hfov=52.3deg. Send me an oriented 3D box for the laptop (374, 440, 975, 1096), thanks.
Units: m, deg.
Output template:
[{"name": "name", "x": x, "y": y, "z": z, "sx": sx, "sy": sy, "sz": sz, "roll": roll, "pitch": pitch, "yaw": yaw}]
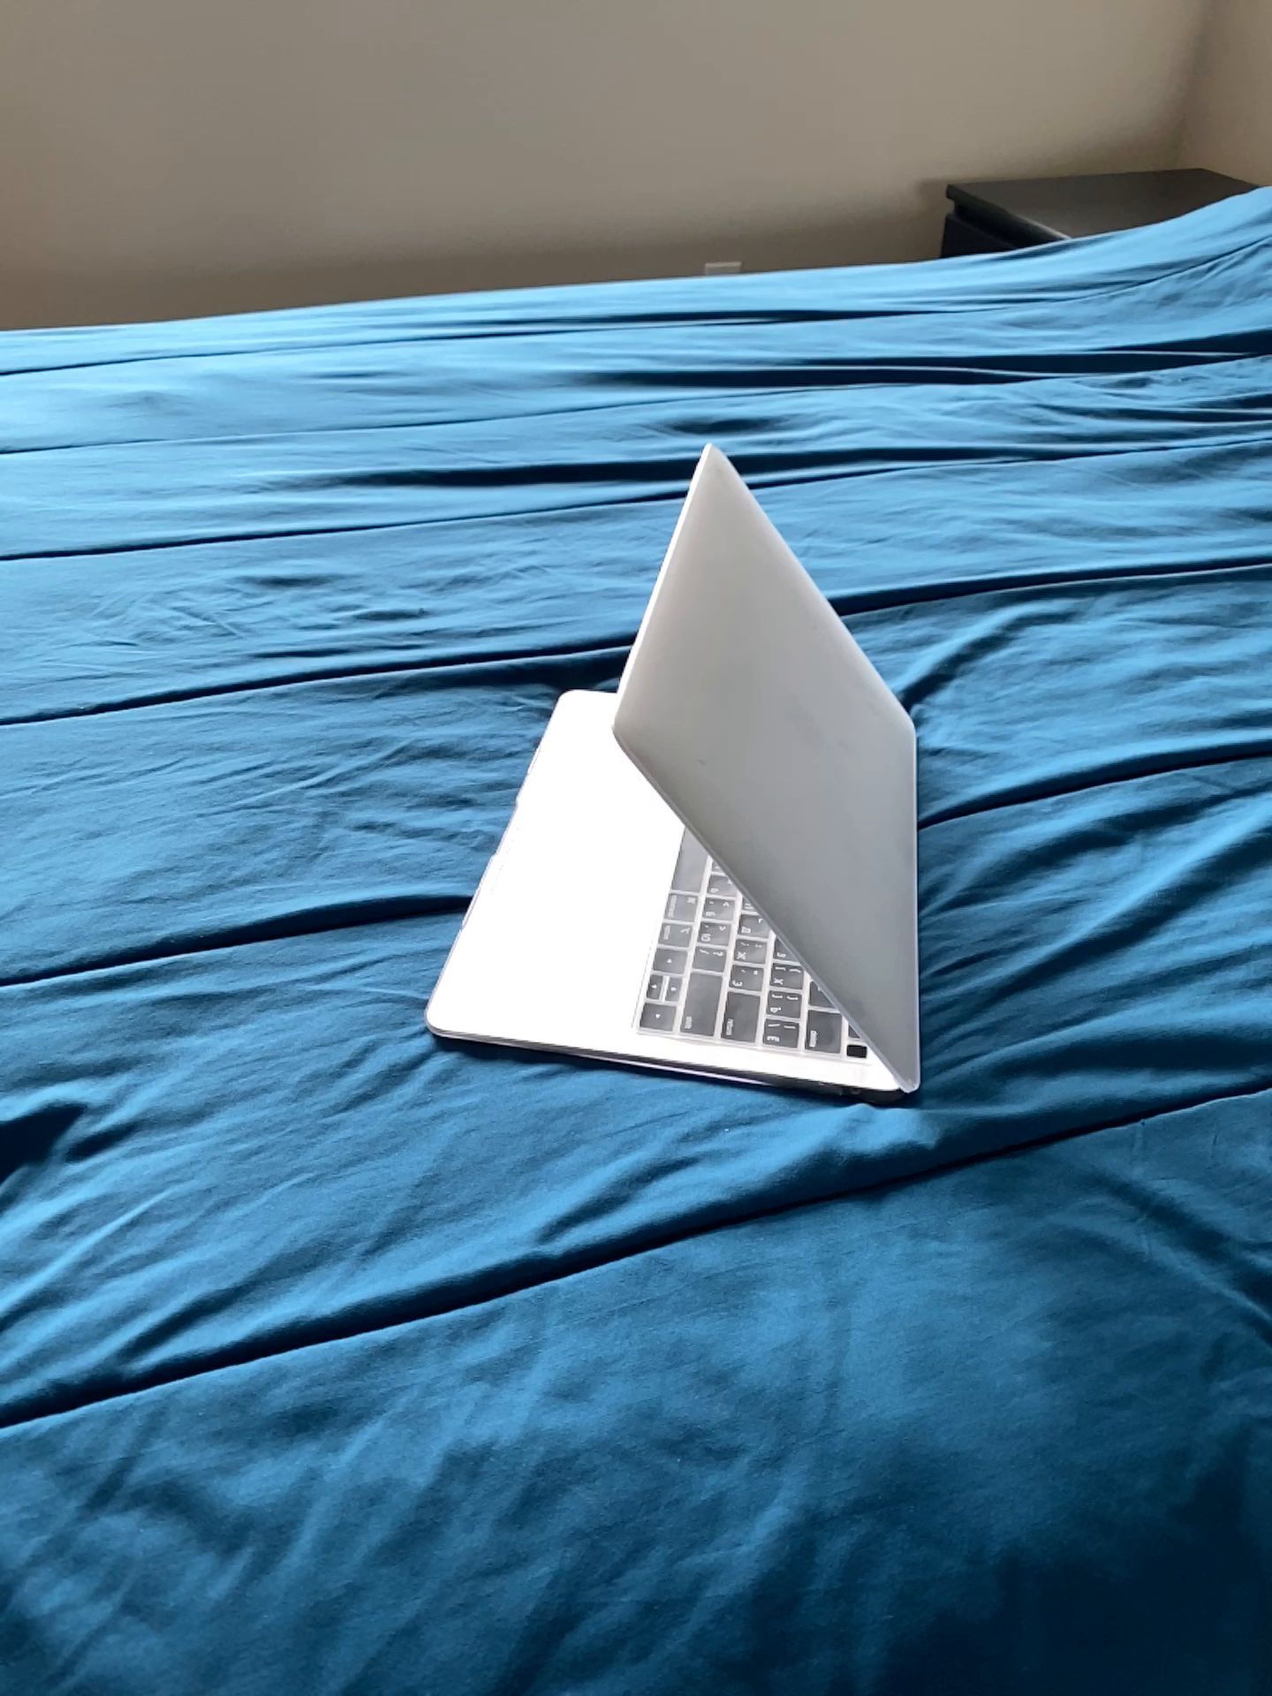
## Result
[{"name": "laptop", "x": 0.035, "y": -0.060, "z": 0.624, "sx": 0.215, "sy": 0.161, "sz": 0.297, "roll": 6, "pitch": 37, "yaw": 7}]
